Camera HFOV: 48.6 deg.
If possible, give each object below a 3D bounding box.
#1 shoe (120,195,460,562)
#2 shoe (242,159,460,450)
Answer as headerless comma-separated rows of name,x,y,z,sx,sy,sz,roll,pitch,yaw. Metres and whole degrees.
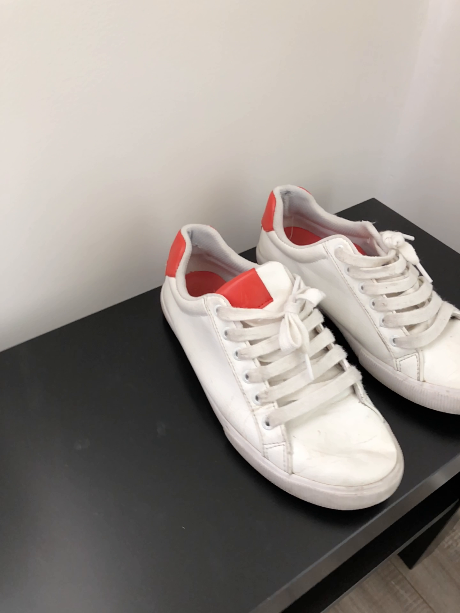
shoe,0.029,0.027,0.349,0.102,0.080,0.236,-25,50,-25
shoe,0.119,-0.019,0.401,0.100,0.080,0.231,-25,50,-25
